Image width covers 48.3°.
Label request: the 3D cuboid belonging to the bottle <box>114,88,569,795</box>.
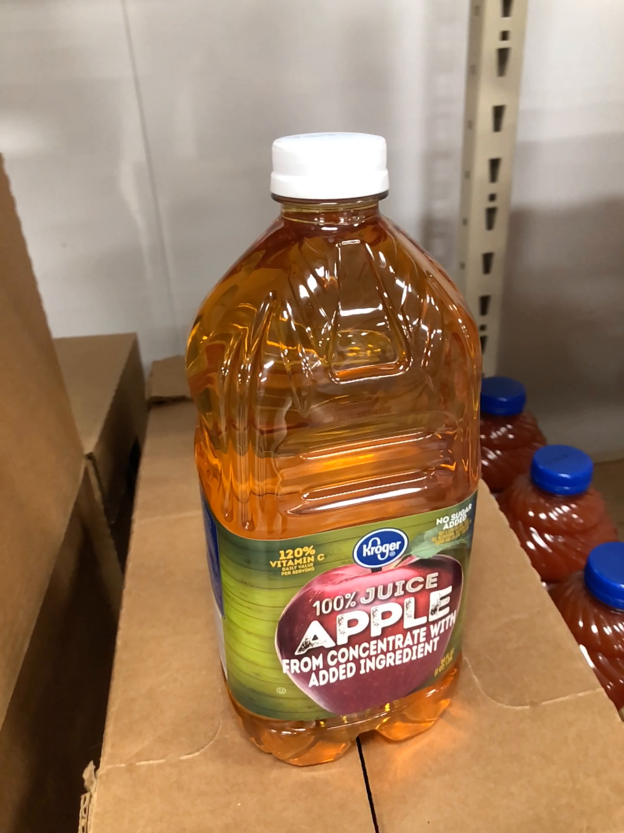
[{"bbox_3d":[0.007,0.017,0.287,0.120,0.259,0.100,-11,32,-12],"label":"bottle"}]
